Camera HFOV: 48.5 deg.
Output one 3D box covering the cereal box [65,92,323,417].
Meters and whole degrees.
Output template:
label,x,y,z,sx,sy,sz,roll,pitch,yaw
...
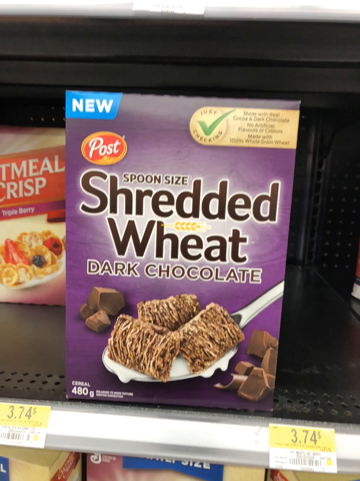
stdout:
label,x,y,z,sx,sy,sz,roll,pitch,yaw
cereal box,0.005,0.014,0.364,0.200,0.269,0.060,3,11,2
